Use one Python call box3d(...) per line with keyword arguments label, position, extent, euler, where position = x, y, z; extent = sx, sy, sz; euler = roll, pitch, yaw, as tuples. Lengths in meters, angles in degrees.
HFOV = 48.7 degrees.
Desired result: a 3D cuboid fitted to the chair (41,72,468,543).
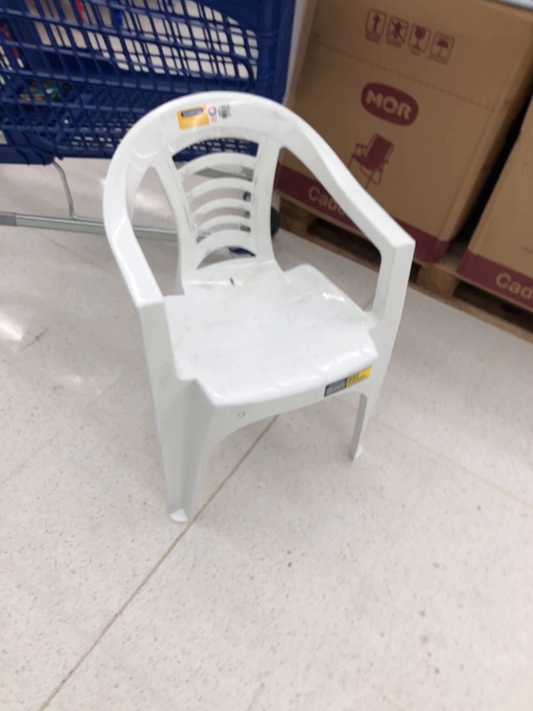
box3d(label="chair", position=(-0.069, -0.089, 1.199), extent=(0.521, 0.695, 0.502), euler=(-17, 52, -21))
